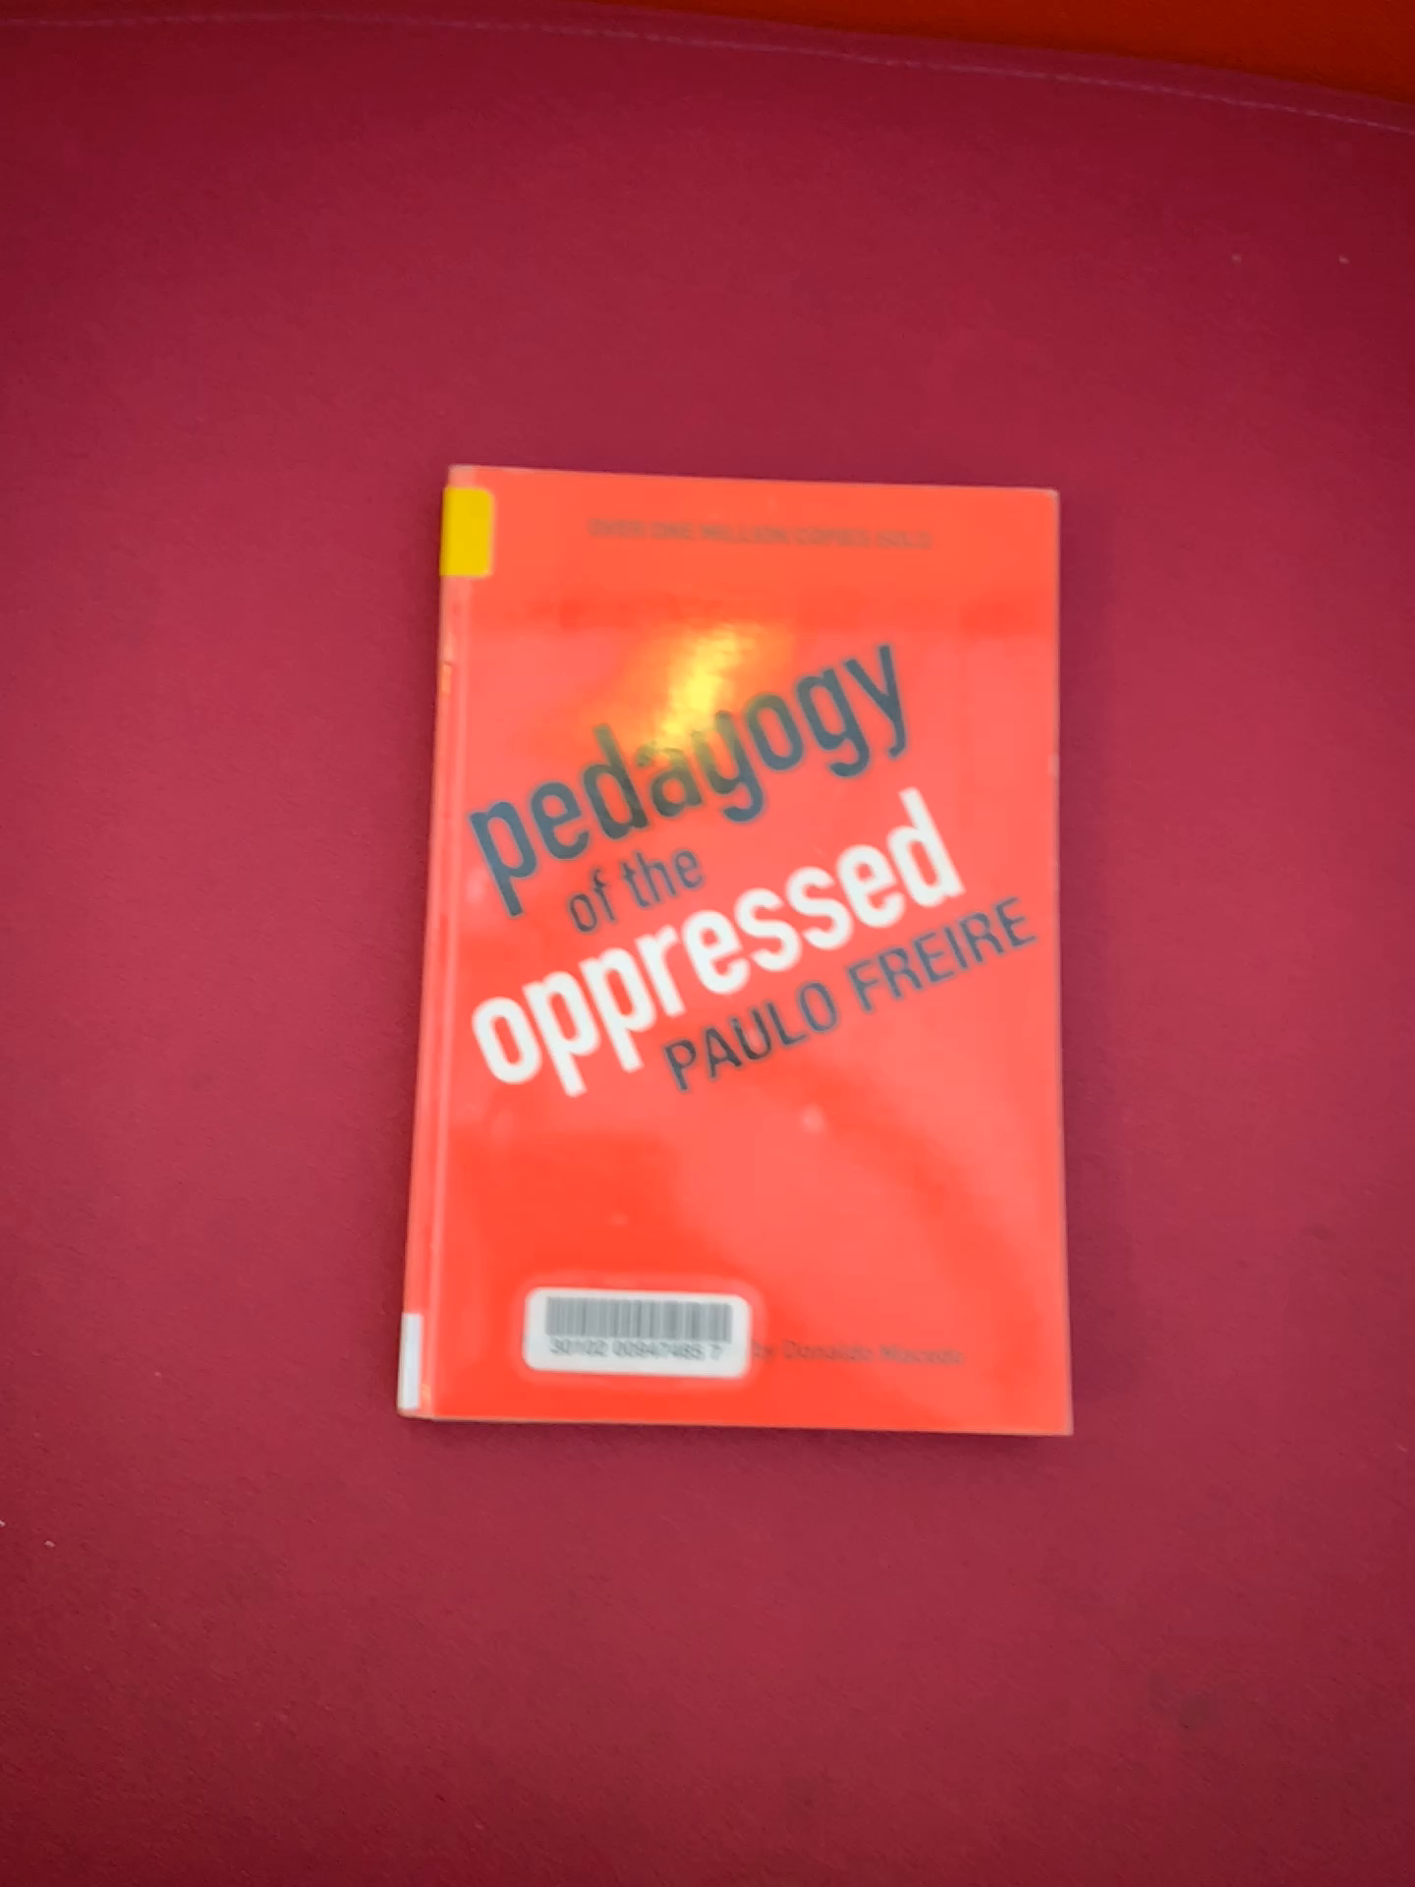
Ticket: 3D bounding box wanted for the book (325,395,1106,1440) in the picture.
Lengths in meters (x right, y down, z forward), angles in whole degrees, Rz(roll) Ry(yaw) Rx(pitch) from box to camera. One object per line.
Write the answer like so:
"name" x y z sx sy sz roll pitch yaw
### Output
"book" 0.004 -0.010 0.351 0.170 0.030 0.240 1 81 -1
